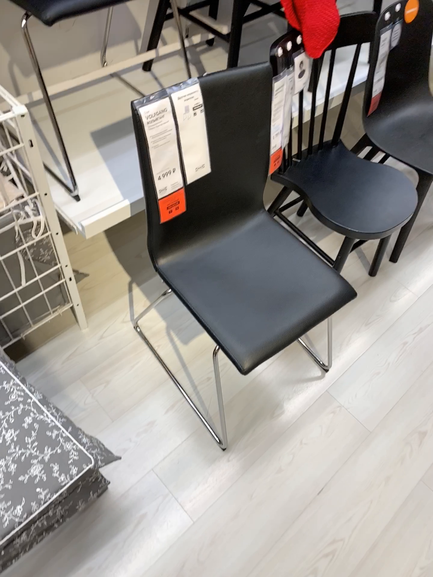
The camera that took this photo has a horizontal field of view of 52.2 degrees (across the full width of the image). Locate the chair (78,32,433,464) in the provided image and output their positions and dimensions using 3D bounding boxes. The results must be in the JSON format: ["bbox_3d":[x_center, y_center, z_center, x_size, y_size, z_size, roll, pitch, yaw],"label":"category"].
[{"bbox_3d":[0.082,-0.057,1.206,0.532,0.869,0.609,-31,63,-25],"label":"chair"}]

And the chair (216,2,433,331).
[{"bbox_3d":[0.408,-0.384,1.532,0.472,0.800,0.599,-35,65,-27],"label":"chair"}]
